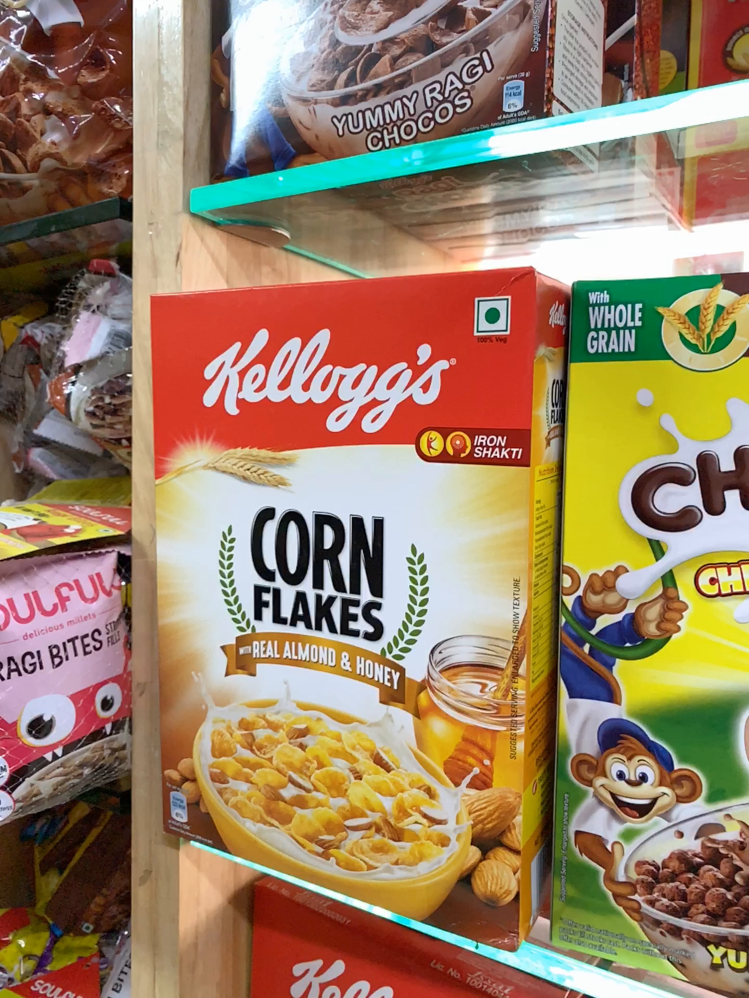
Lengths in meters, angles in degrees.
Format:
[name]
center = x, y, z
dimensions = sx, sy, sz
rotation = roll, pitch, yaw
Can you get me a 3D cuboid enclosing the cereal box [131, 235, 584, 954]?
[cereal box]
center = -0.011, 0.027, 0.326
dimensions = 0.170, 0.239, 0.070
rotation = 4, 8, 29
